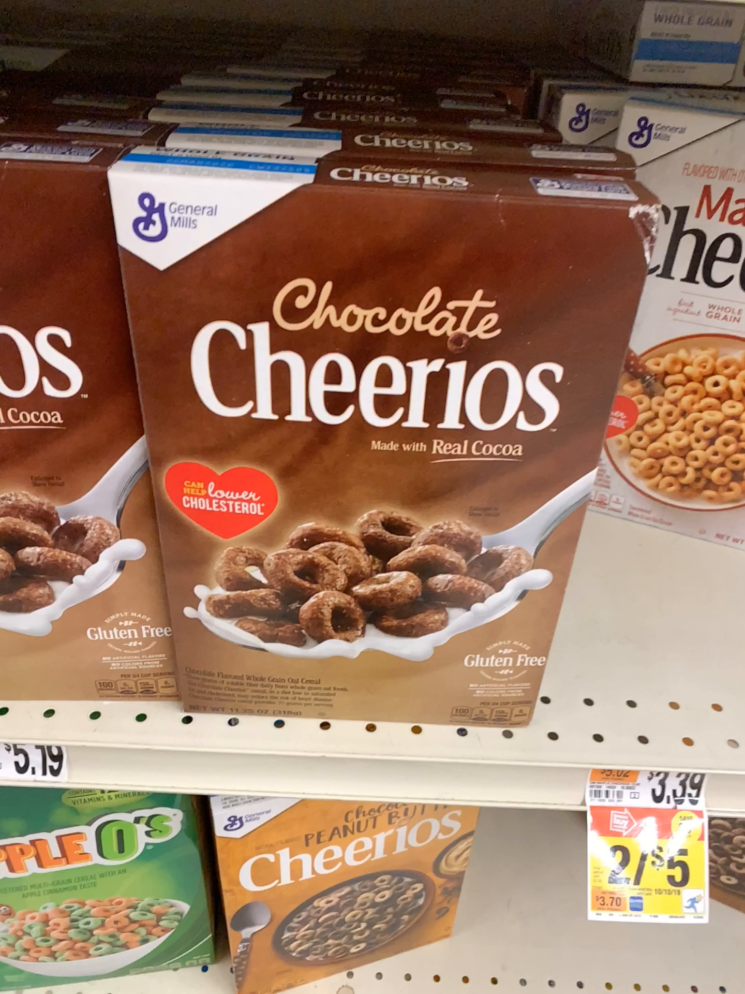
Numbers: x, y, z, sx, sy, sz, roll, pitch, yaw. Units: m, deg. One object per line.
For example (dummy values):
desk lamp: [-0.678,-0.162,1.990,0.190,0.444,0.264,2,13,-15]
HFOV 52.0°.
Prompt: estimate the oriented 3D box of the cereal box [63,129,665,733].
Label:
cereal box: [-0.009,-0.007,0.379,0.210,0.298,0.060,3,37,0]
